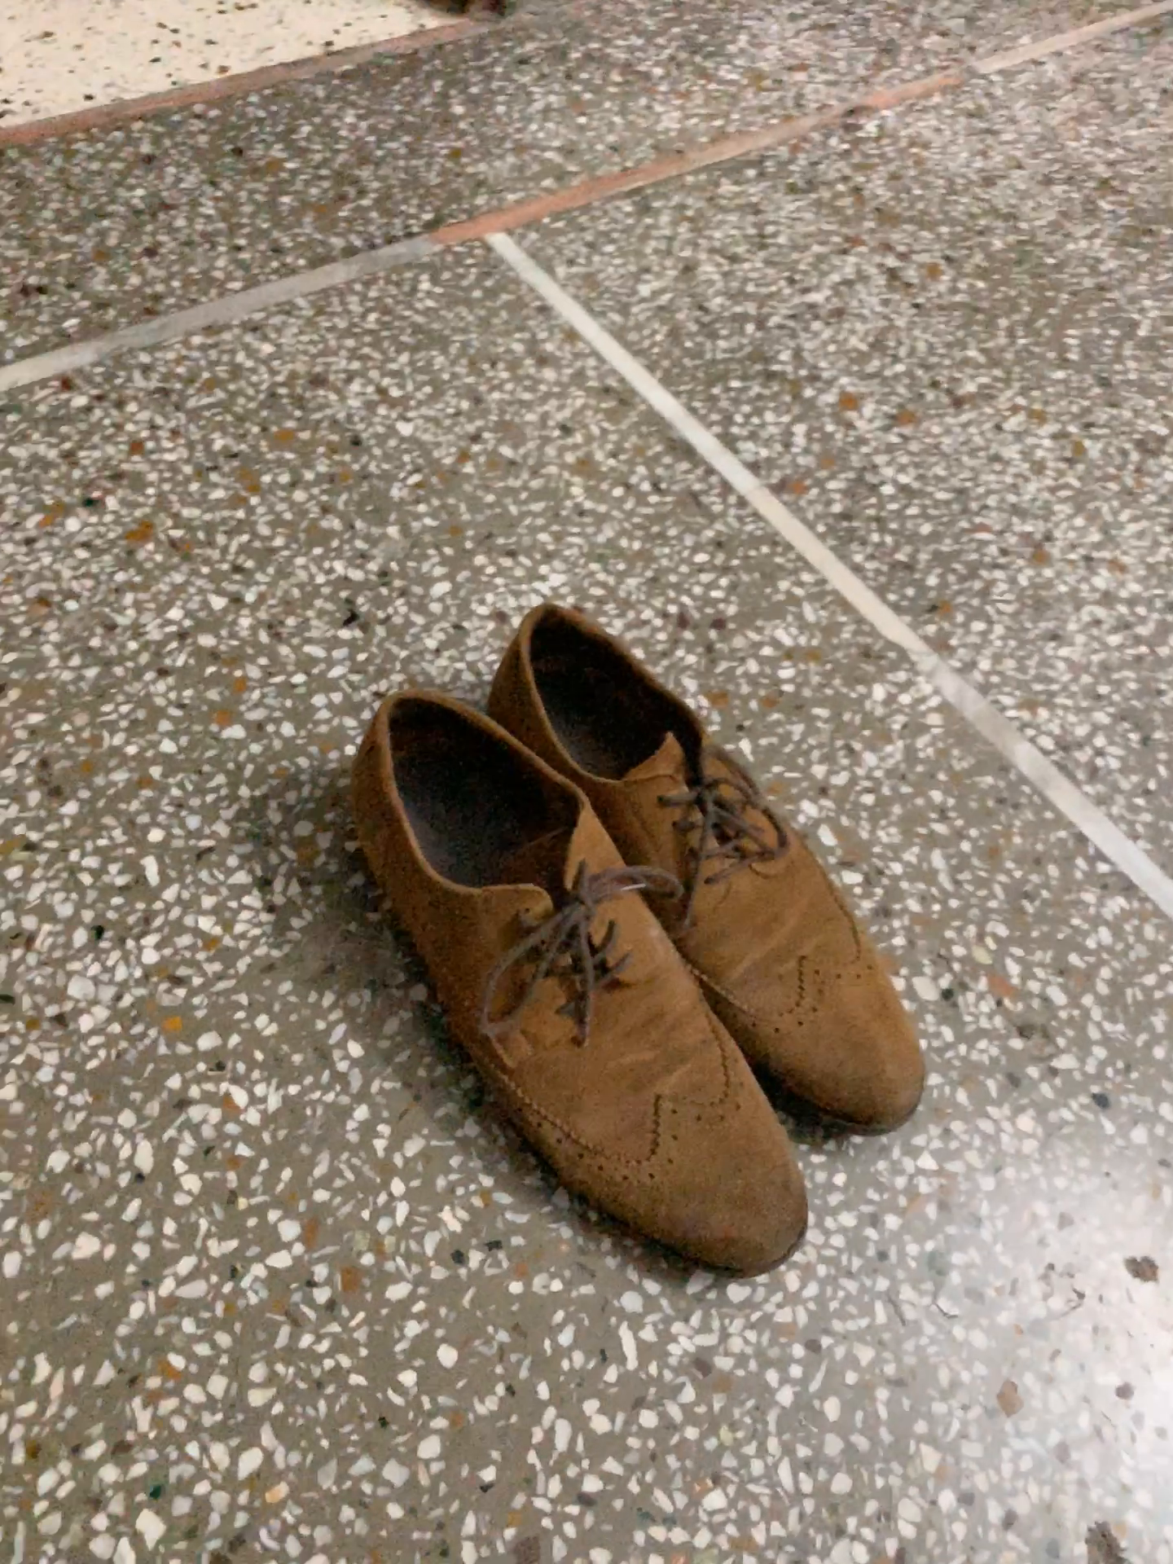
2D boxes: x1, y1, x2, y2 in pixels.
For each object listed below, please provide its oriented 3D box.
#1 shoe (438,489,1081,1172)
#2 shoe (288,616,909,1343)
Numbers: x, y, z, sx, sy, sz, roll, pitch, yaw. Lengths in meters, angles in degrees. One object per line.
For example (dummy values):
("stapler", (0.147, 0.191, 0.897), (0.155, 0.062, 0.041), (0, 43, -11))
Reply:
("shoe", (0.063, 0.017, 0.575), (0.100, 0.110, 0.310), (-32, 70, -25))
("shoe", (-0.011, 0.084, 0.556), (0.100, 0.110, 0.310), (-30, 69, -24))
